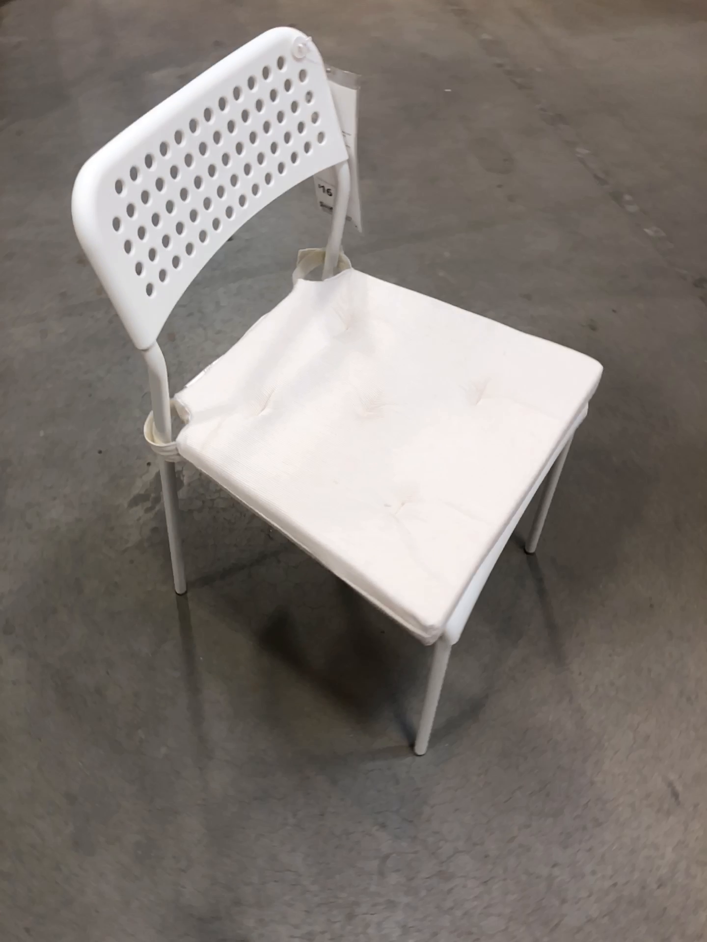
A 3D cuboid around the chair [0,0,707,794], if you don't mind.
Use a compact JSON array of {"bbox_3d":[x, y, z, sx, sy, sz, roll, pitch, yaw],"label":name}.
[{"bbox_3d":[0.046,-0.052,0.954,0.530,0.738,0.481,27,58,15],"label":"chair"}]
